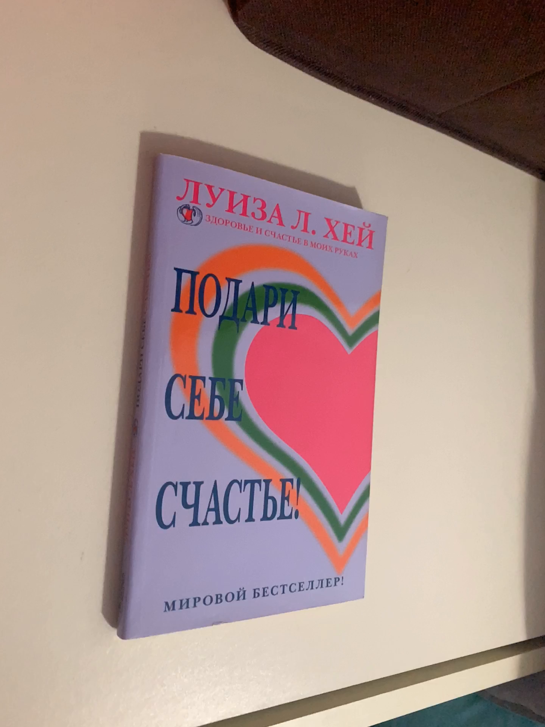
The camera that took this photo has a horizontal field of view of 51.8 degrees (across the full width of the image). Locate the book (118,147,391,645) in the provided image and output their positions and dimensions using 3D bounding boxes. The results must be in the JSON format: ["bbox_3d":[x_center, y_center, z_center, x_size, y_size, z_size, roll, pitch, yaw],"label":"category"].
[{"bbox_3d":[-0.001,0.015,0.259,0.123,0.016,0.194,5,86,-32],"label":"book"}]
